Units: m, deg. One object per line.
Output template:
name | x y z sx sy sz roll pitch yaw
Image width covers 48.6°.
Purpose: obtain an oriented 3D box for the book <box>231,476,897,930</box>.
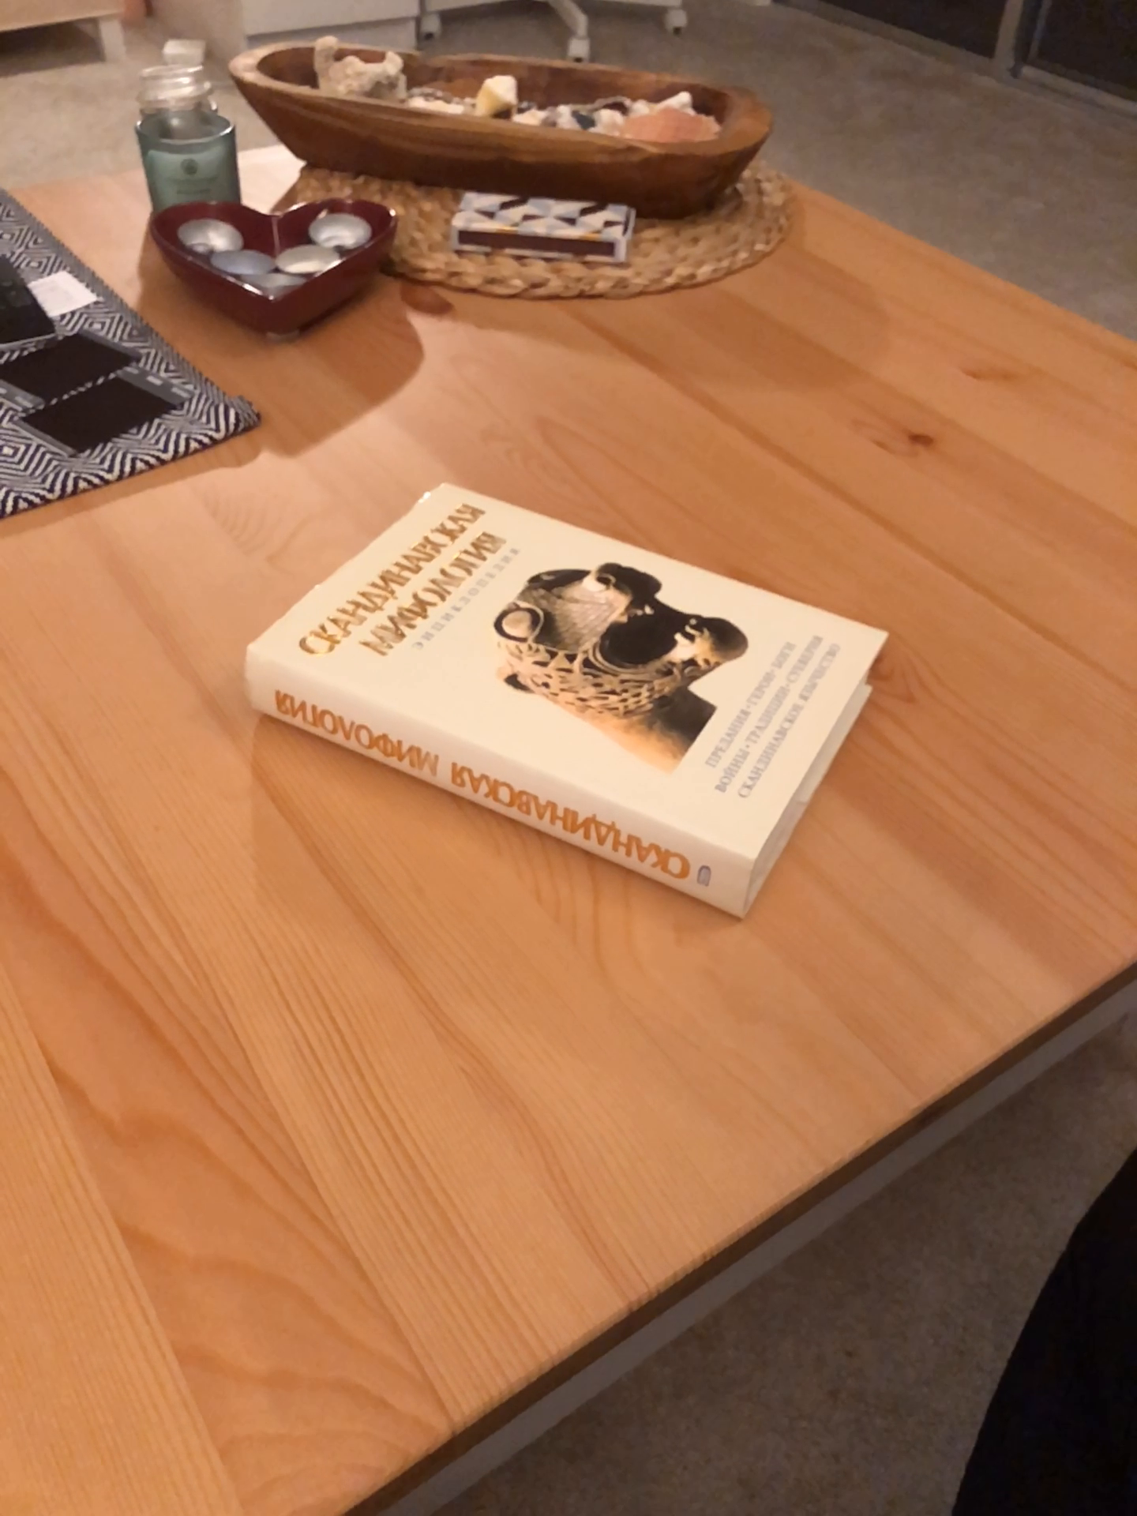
book | 0.001 -0.035 0.504 0.215 0.030 0.151 22 46 19
